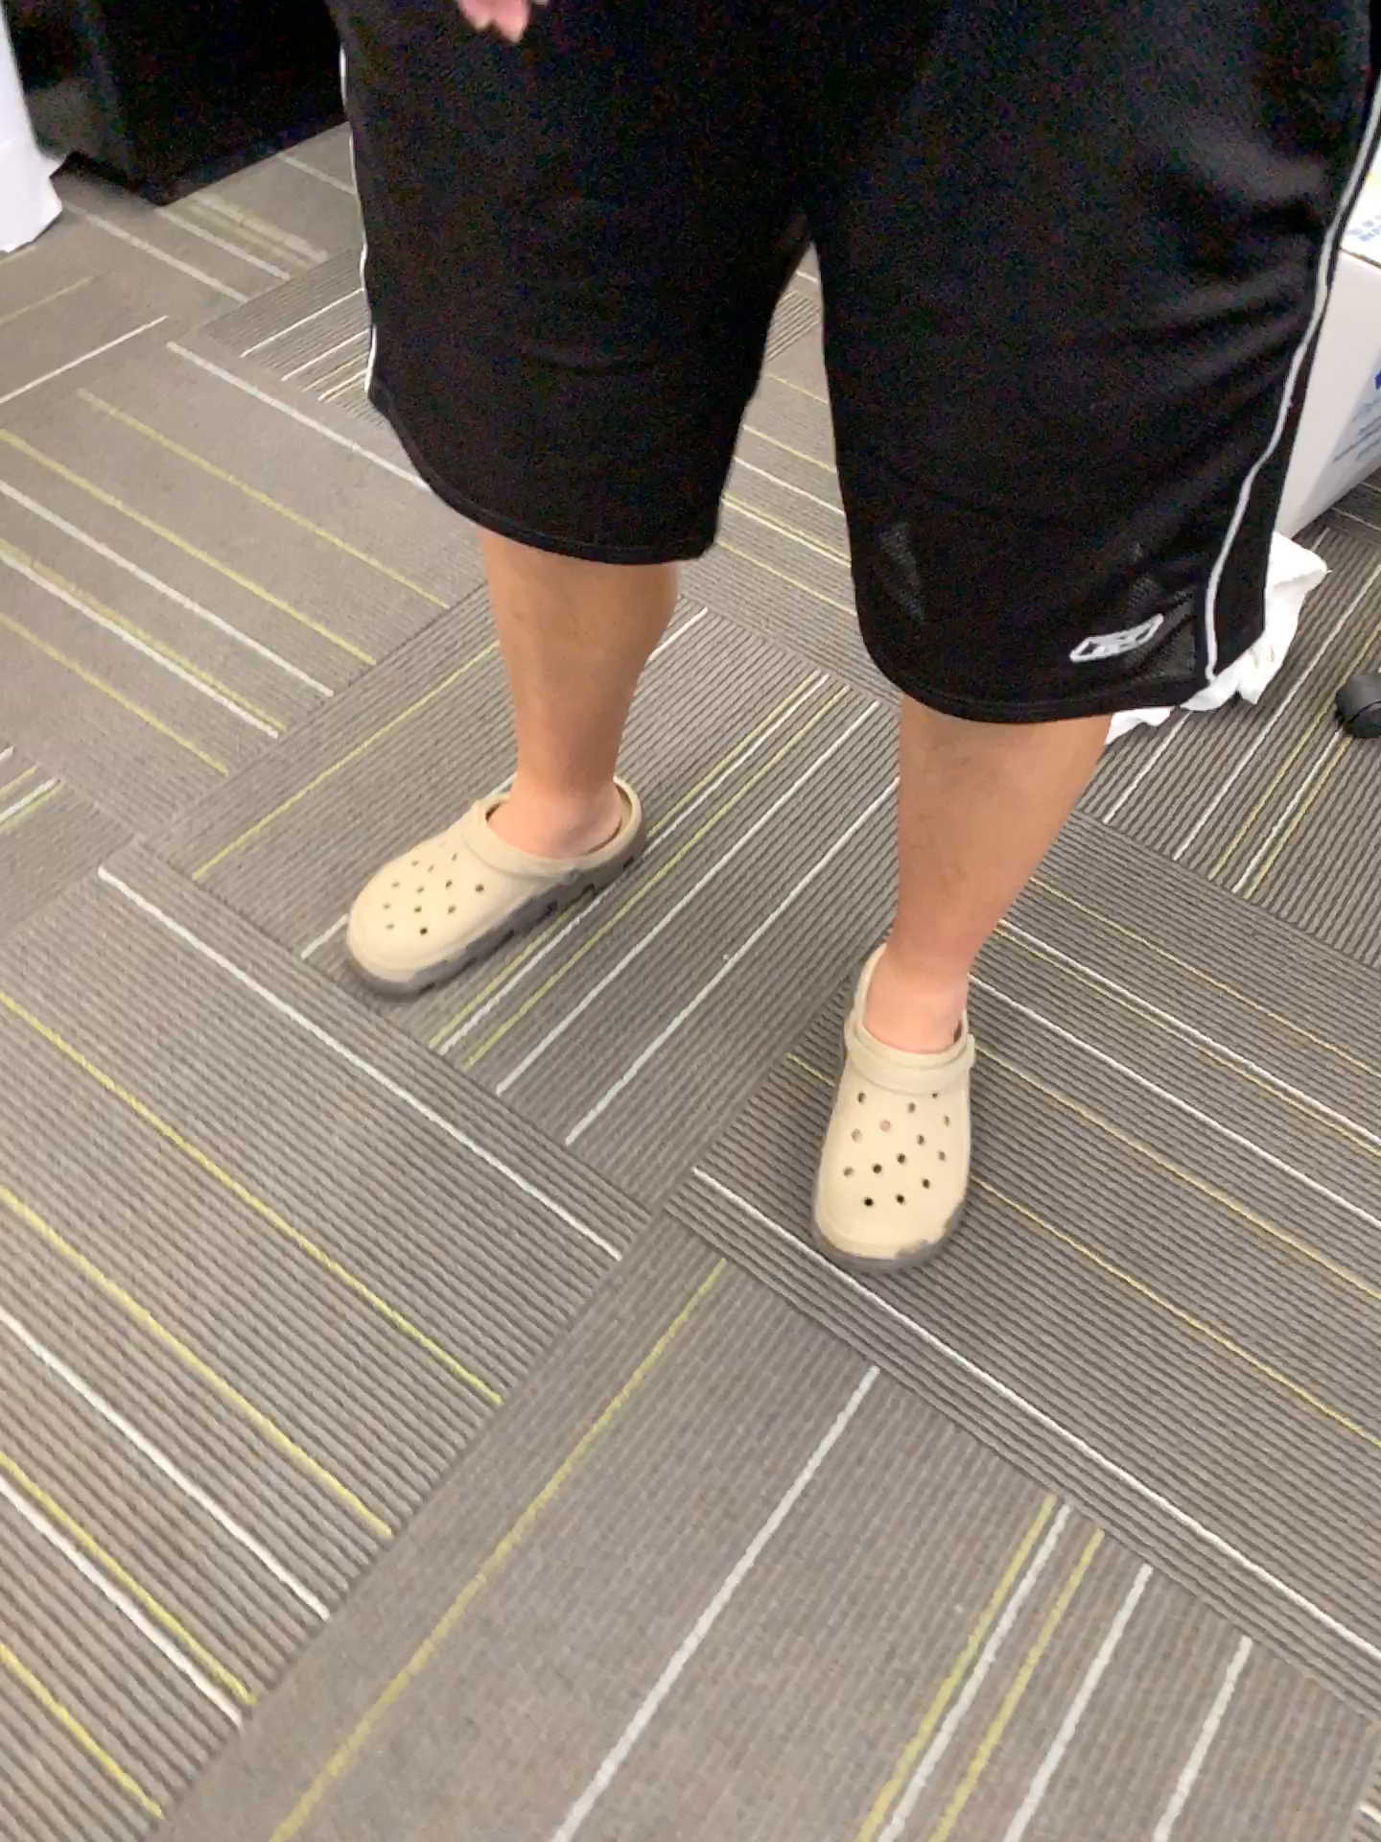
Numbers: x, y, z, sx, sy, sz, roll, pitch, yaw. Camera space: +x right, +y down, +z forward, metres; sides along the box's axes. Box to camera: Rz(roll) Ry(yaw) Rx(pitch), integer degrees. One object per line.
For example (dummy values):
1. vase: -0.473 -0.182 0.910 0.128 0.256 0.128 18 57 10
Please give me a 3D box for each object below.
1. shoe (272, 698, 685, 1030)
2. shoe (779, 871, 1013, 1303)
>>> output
1. shoe: -0.183 -0.059 1.265 0.330 0.090 0.150 -31 61 -24
2. shoe: 0.173 0.125 1.149 0.140 0.090 0.331 11 53 4
